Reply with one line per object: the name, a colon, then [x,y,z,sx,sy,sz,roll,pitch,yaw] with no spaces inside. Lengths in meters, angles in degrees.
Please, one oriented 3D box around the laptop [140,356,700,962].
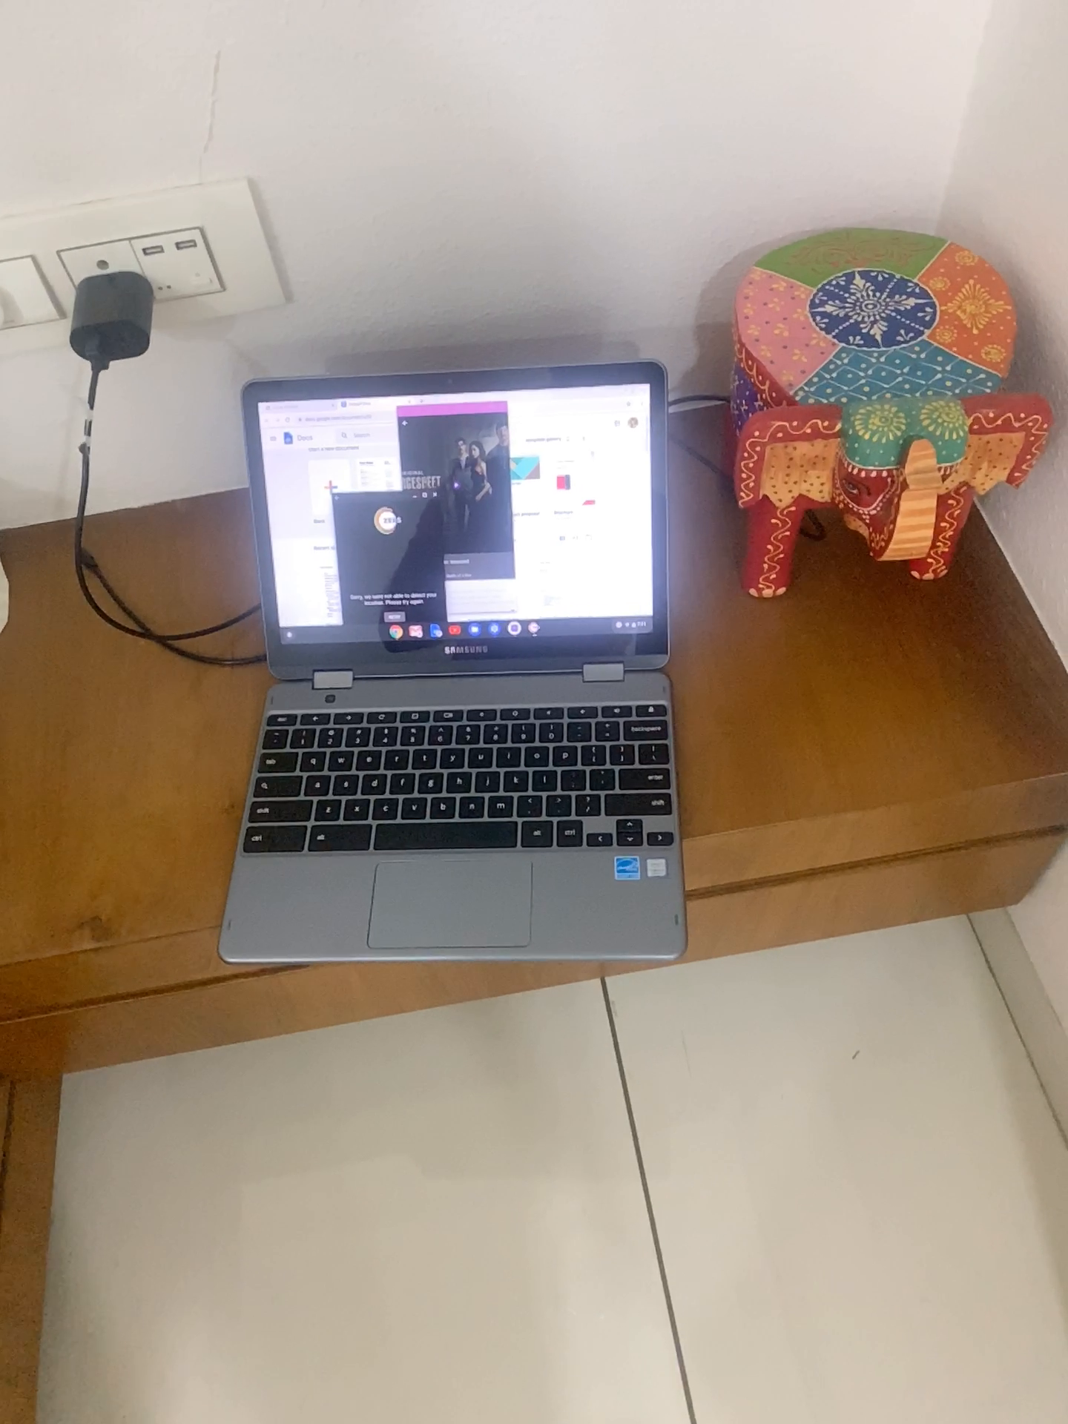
laptop: [-0.053,-0.042,0.771,0.314,0.164,0.384,-2,58,6]
